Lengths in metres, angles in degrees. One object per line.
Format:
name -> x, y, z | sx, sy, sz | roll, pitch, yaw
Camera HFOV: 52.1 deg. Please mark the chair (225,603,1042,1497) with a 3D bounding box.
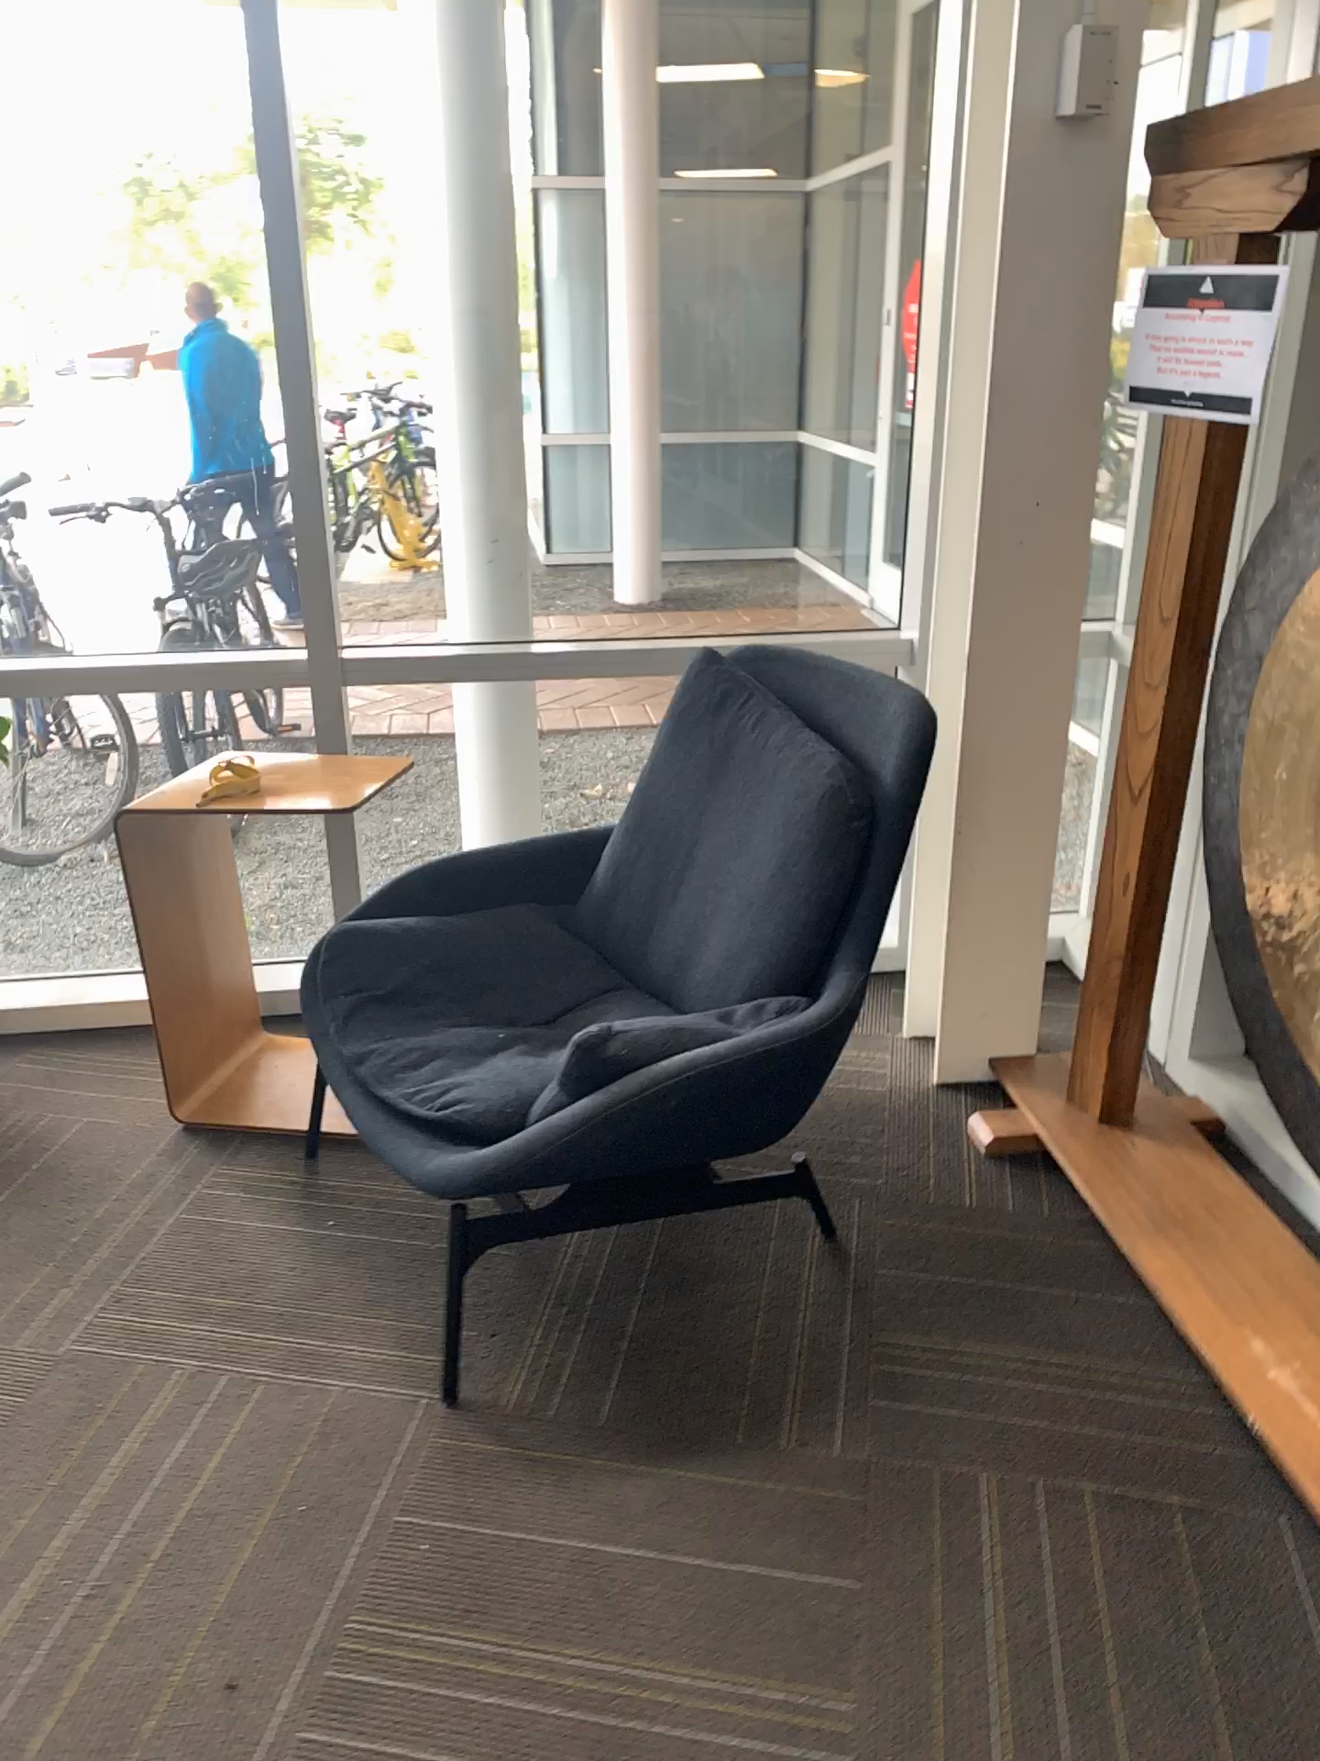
chair -> -0.082, 0.151, 2.265 | 0.940, 0.995, 0.904 | -12, 25, -28
